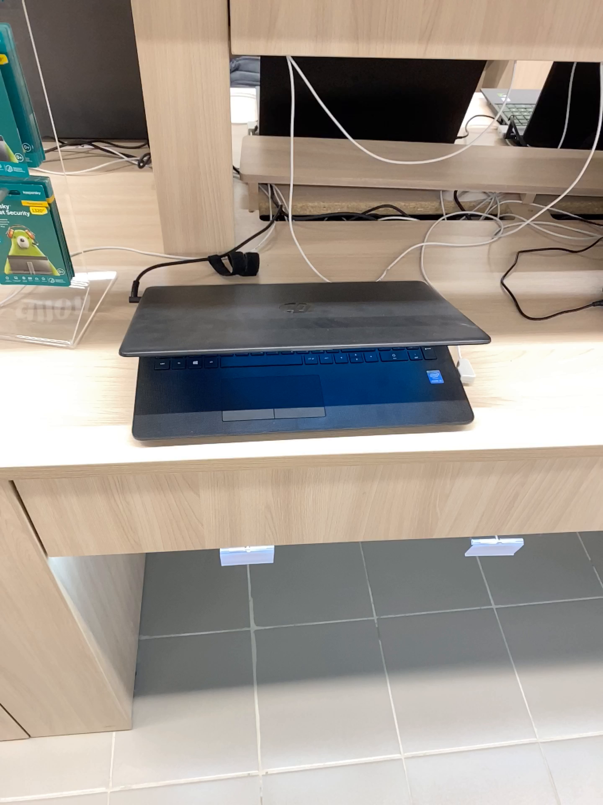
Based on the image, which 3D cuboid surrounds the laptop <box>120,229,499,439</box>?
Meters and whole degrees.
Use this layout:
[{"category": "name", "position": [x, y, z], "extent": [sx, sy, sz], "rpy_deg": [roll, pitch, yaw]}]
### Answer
[{"category": "laptop", "position": [-0.002, -0.092, 0.717], "extent": [0.372, 0.093, 0.252], "rpy_deg": [-2, 47, -7]}]
